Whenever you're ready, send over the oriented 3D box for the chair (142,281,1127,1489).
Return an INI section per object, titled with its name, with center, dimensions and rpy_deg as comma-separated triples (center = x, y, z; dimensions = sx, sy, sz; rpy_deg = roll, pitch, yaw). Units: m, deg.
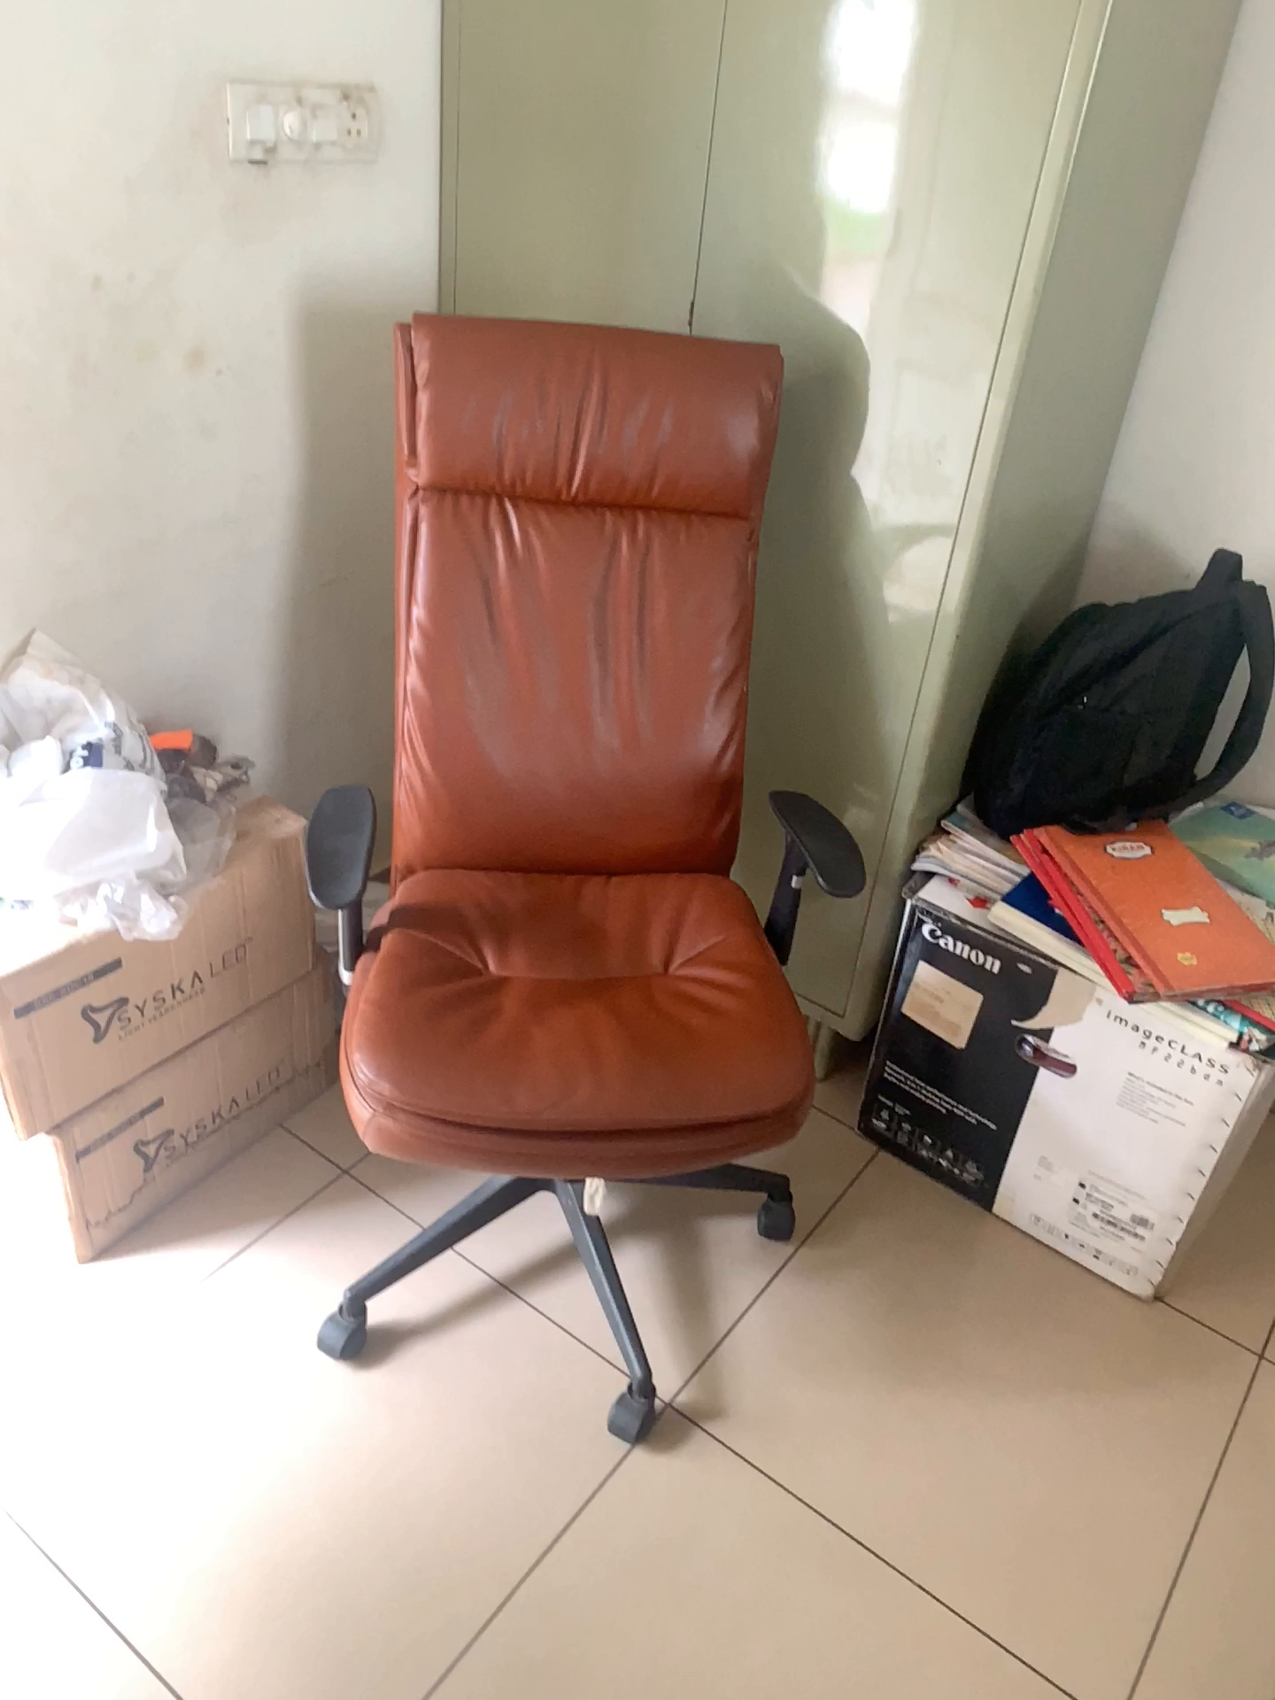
[chair]
center = -0.082, 0.005, 1.581
dimensions = 0.690, 1.085, 0.934
rpy_deg = 1, 33, -8
